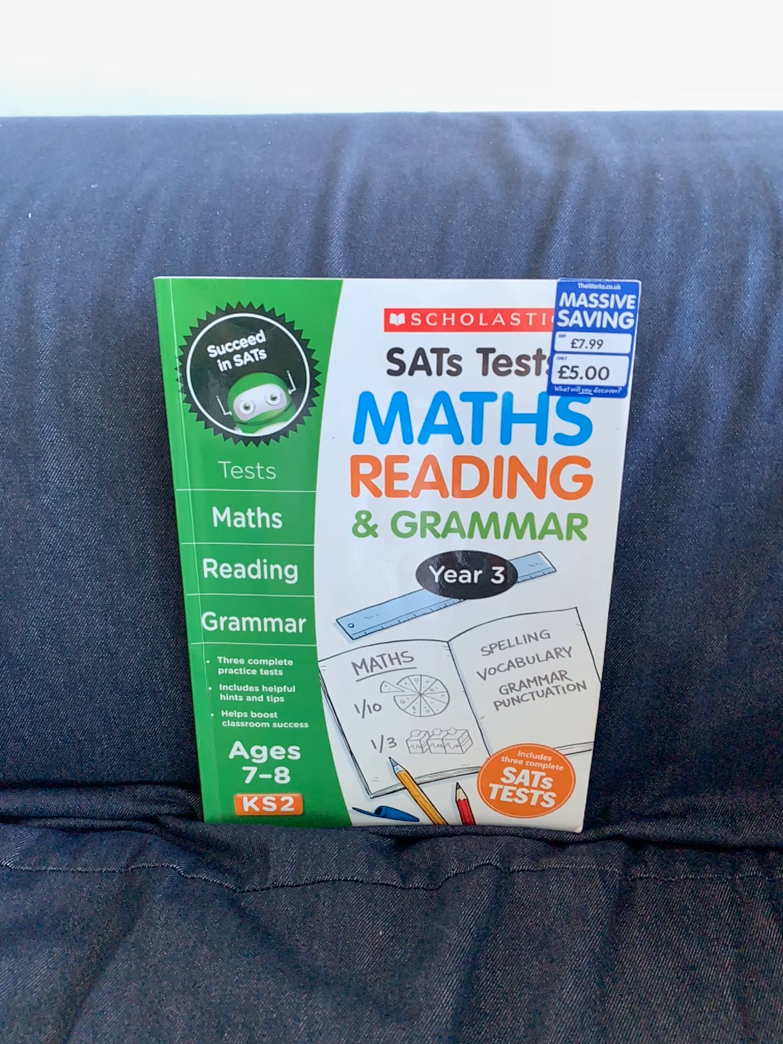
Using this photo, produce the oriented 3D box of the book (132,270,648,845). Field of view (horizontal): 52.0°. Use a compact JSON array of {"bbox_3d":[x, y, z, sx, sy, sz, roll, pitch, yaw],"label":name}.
[{"bbox_3d":[-0.001,0.032,0.389,0.209,0.293,0.022,0,22,1],"label":"book"}]
